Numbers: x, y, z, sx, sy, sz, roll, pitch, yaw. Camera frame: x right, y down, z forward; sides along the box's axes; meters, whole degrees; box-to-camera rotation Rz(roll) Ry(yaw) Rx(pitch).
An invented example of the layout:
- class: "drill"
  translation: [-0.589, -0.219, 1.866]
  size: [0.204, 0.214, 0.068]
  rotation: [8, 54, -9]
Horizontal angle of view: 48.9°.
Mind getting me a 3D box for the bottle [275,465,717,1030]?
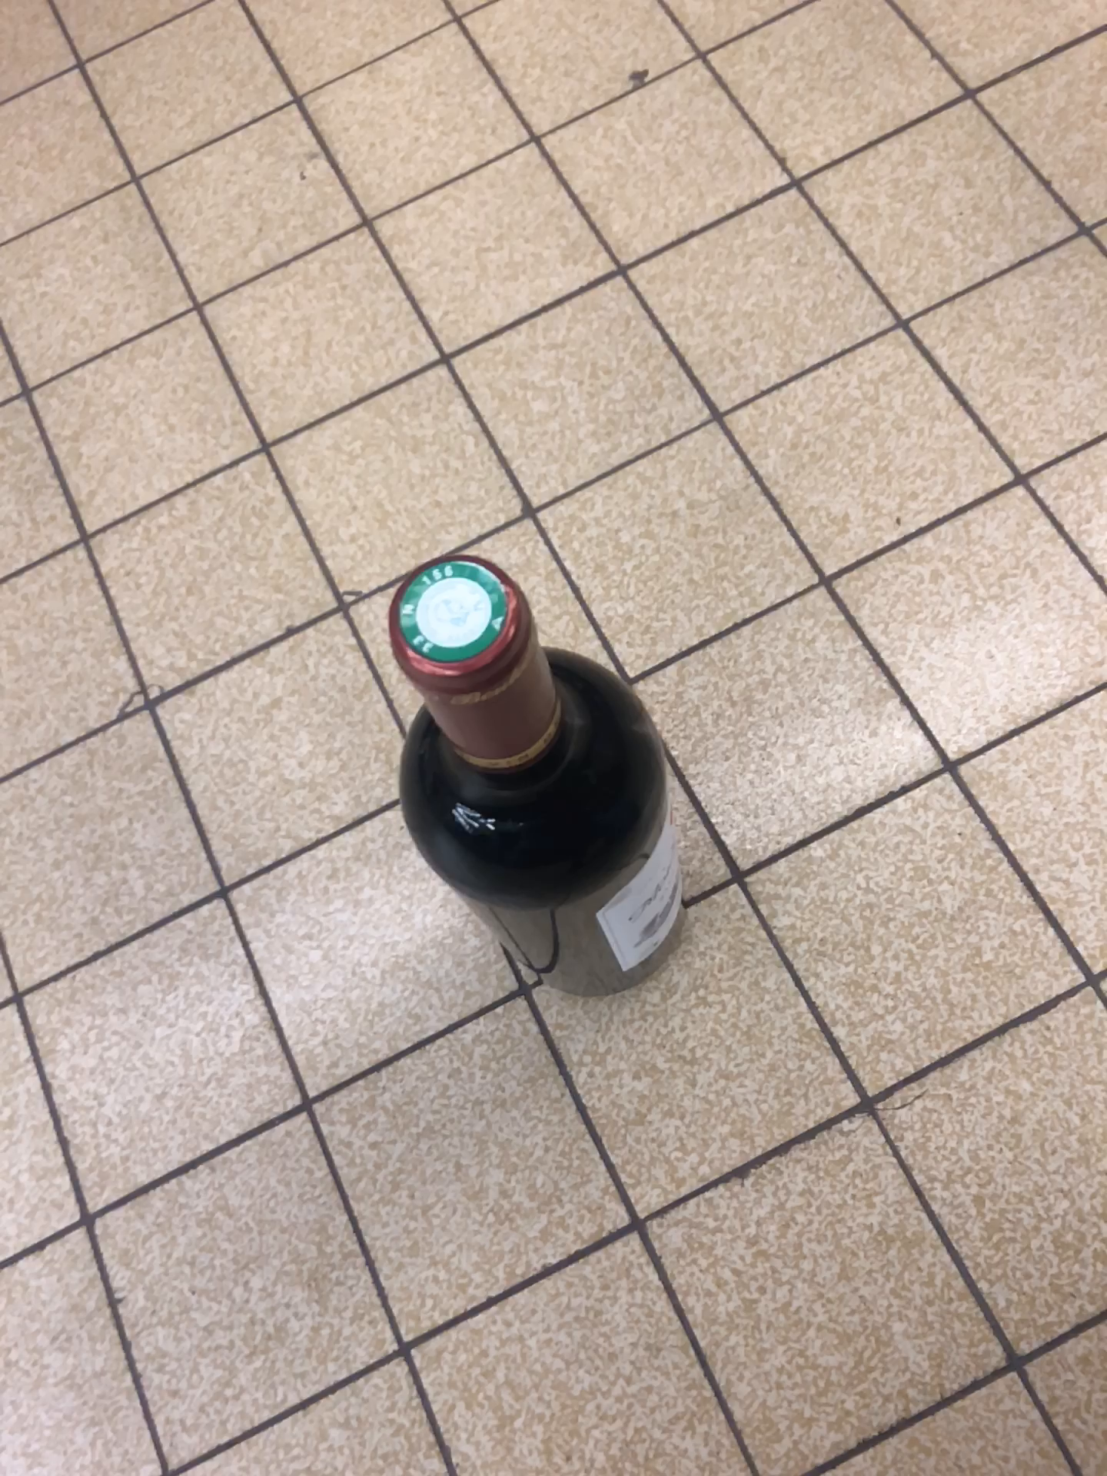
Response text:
- class: "bottle"
  translation: [0.008, 0.031, 0.365]
  size: [0.080, 0.282, 0.080]
  rotation: [-2, 70, 7]
